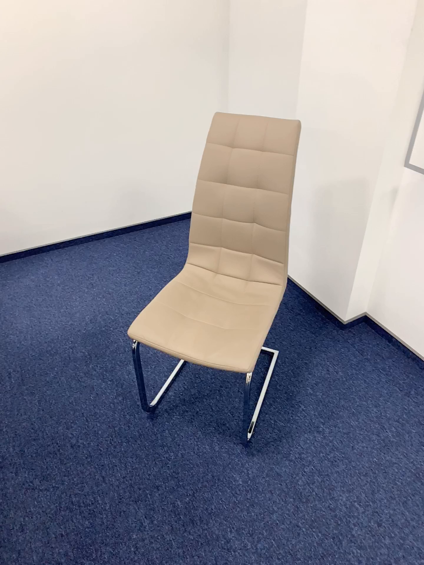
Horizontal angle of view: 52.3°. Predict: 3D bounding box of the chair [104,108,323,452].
[{"bbox_3d":[0.040,-0.003,1.487,0.440,0.984,0.533,14,38,19],"label":"chair"}]
